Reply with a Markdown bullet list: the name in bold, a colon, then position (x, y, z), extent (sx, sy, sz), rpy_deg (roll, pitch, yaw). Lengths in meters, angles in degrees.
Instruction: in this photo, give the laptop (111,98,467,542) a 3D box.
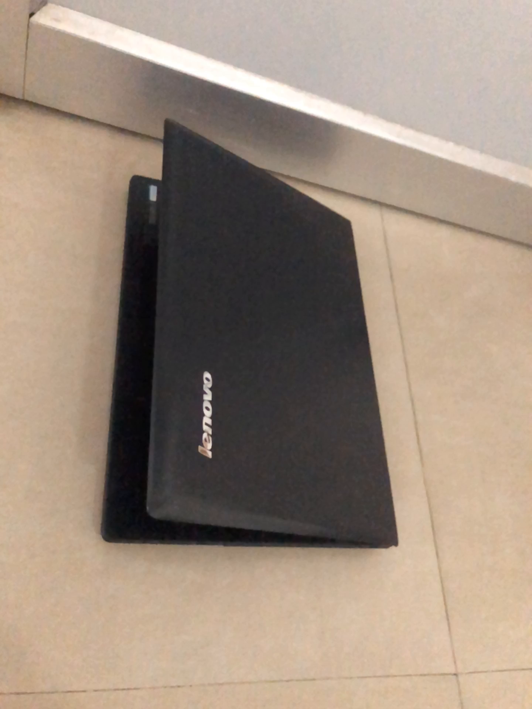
- **laptop**: position (0.011, -0.031, 0.534), extent (0.258, 0.097, 0.368), rpy_deg (8, 60, -22)
